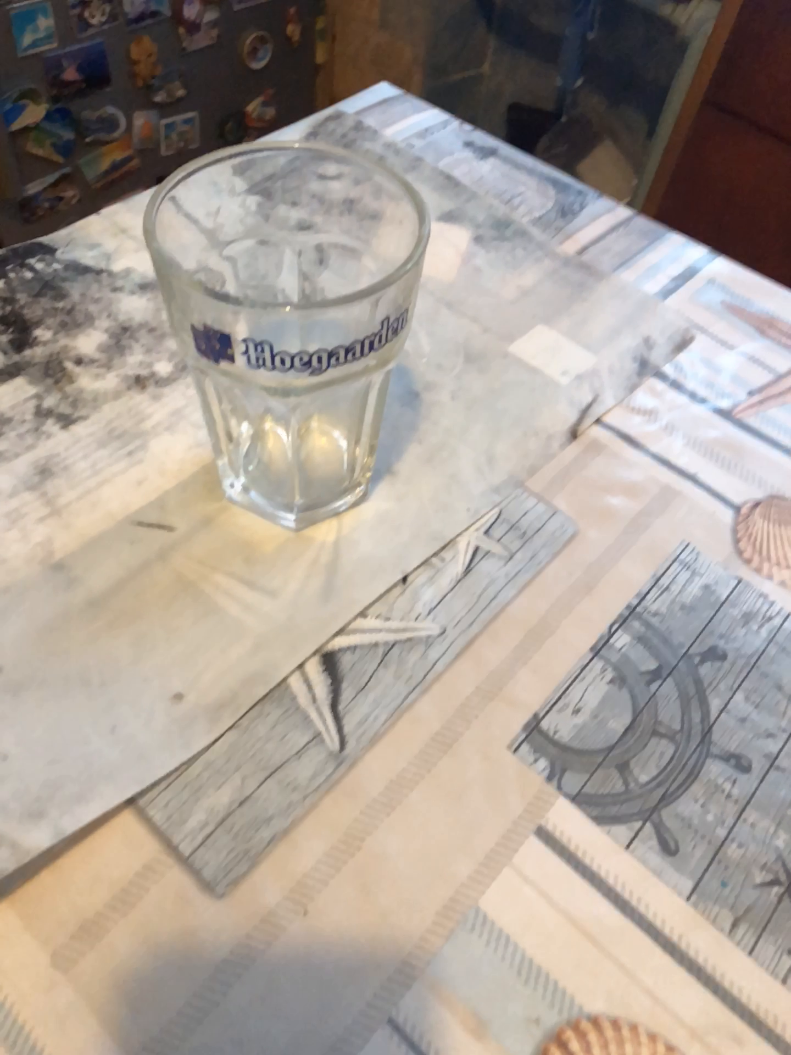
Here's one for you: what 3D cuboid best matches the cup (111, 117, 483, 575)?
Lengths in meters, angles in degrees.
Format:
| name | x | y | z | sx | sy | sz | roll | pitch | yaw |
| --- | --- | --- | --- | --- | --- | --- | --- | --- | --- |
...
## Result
| name | x | y | z | sx | sy | sz | roll | pitch | yaw |
| --- | --- | --- | --- | --- | --- | --- | --- | --- | --- |
| cup | -0.038 | -0.068 | 0.343 | 0.099 | 0.123 | 0.099 | 1 | 54 | -1 |
